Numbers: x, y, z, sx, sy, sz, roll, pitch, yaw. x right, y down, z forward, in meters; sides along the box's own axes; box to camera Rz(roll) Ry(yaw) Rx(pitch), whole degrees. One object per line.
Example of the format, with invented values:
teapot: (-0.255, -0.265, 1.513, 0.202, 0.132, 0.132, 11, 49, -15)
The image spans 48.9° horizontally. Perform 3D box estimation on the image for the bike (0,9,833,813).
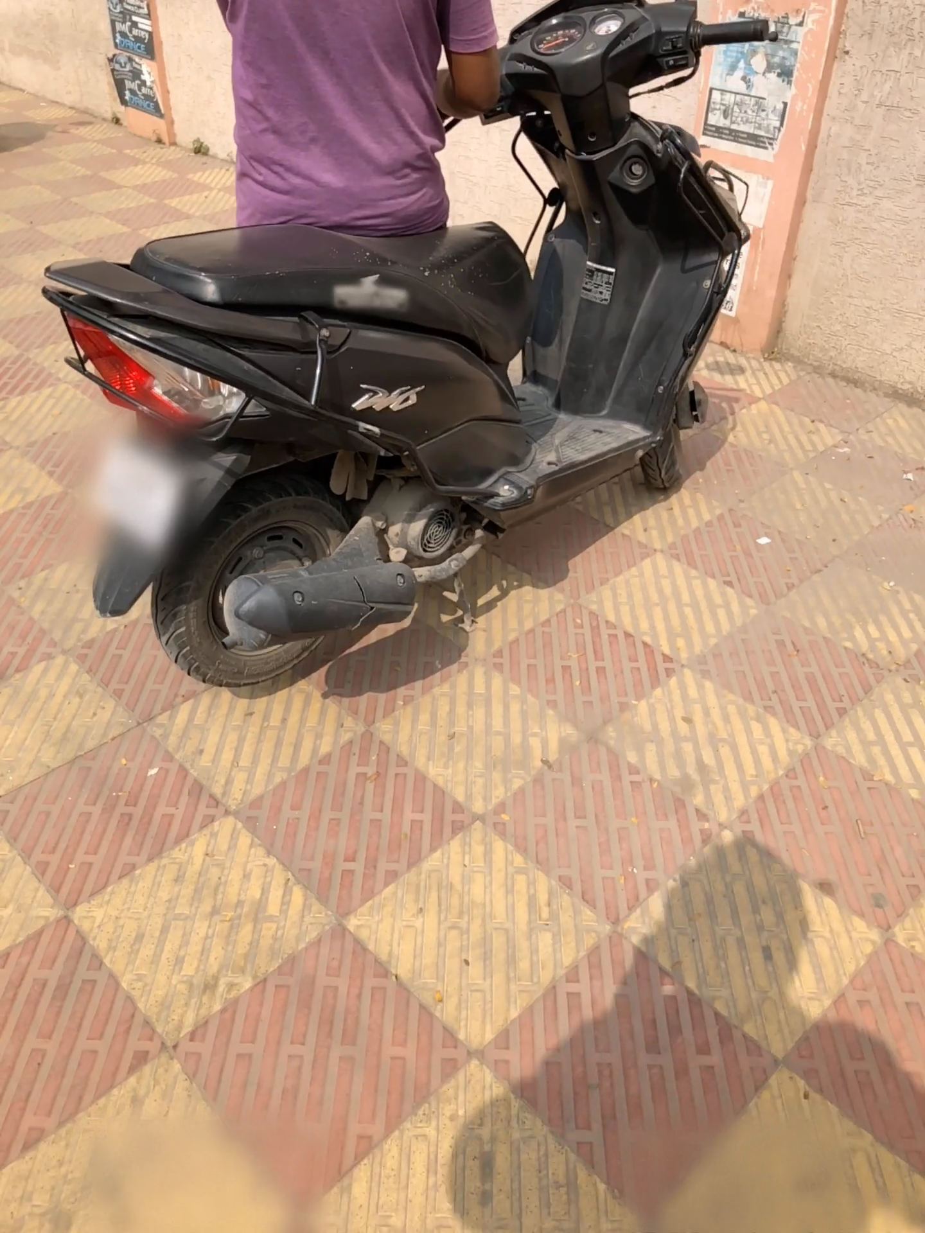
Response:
bike: (0.030, -0.532, 1.958, 0.574, 0.987, 1.515, 27, 43, 30)
